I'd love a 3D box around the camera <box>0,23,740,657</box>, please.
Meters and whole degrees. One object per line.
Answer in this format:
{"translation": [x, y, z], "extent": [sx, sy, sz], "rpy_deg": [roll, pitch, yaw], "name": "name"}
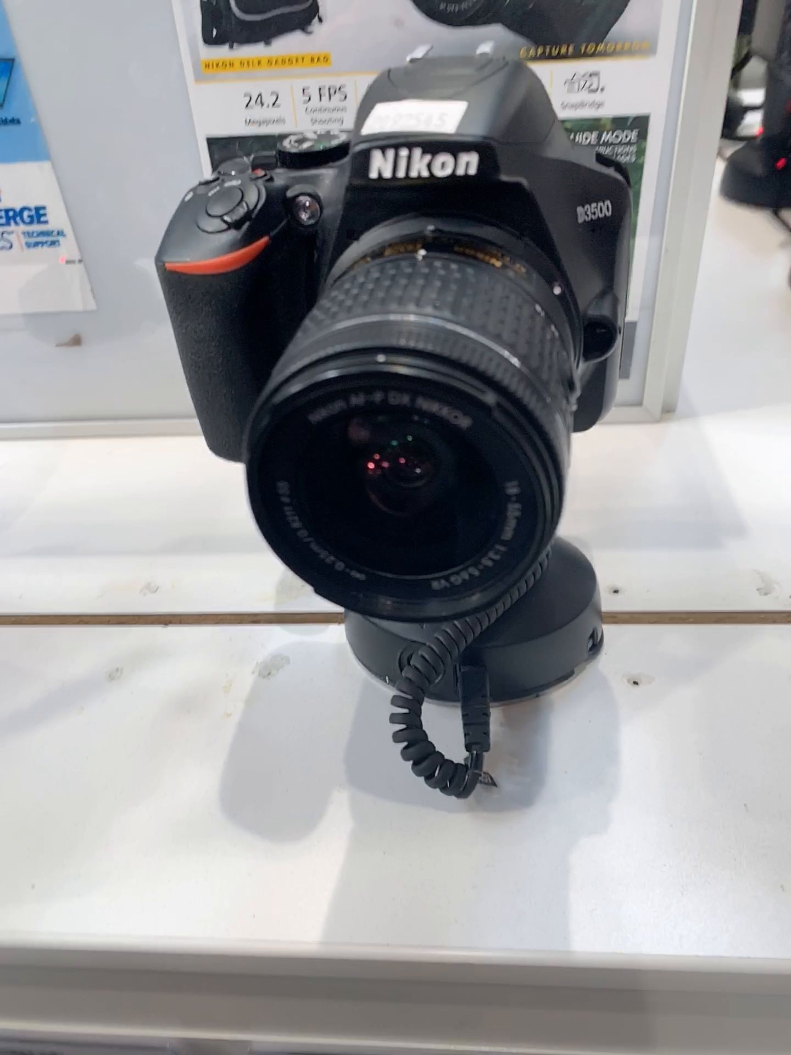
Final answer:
{"translation": [0.000, -0.050, 0.196], "extent": [0.116, 0.099, 0.121], "rpy_deg": [1, 38, 9], "name": "camera"}
